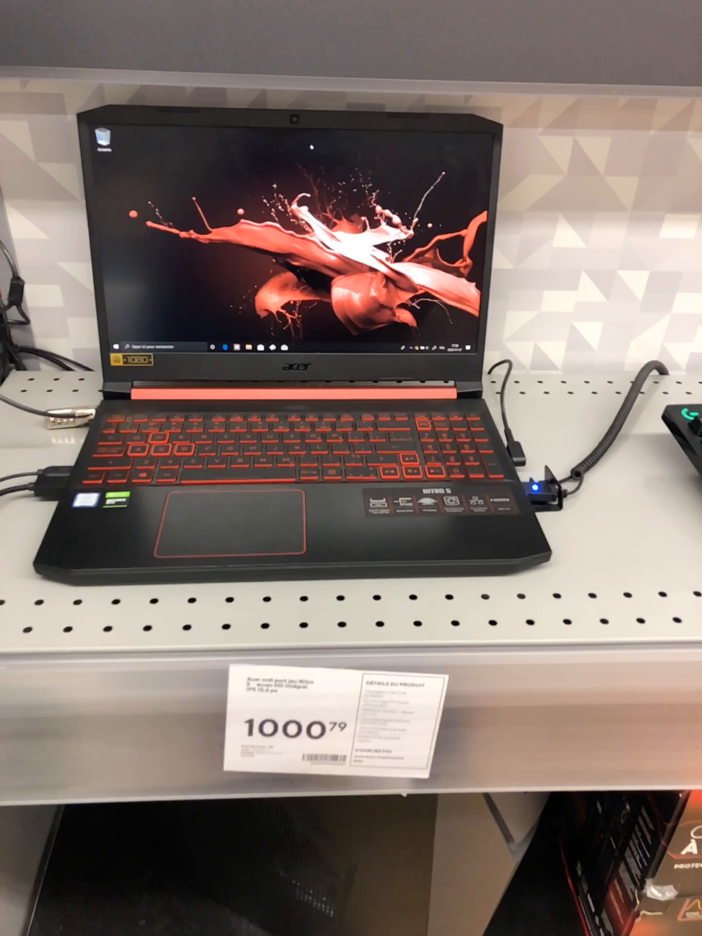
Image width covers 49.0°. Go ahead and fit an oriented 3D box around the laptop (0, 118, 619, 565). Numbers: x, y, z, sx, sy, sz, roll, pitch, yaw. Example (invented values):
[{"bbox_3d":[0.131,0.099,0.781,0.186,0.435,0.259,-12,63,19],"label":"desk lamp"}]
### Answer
[{"bbox_3d":[-0.040,-0.114,0.606,0.361,0.241,0.282,-1,34,-5],"label":"laptop"}]
